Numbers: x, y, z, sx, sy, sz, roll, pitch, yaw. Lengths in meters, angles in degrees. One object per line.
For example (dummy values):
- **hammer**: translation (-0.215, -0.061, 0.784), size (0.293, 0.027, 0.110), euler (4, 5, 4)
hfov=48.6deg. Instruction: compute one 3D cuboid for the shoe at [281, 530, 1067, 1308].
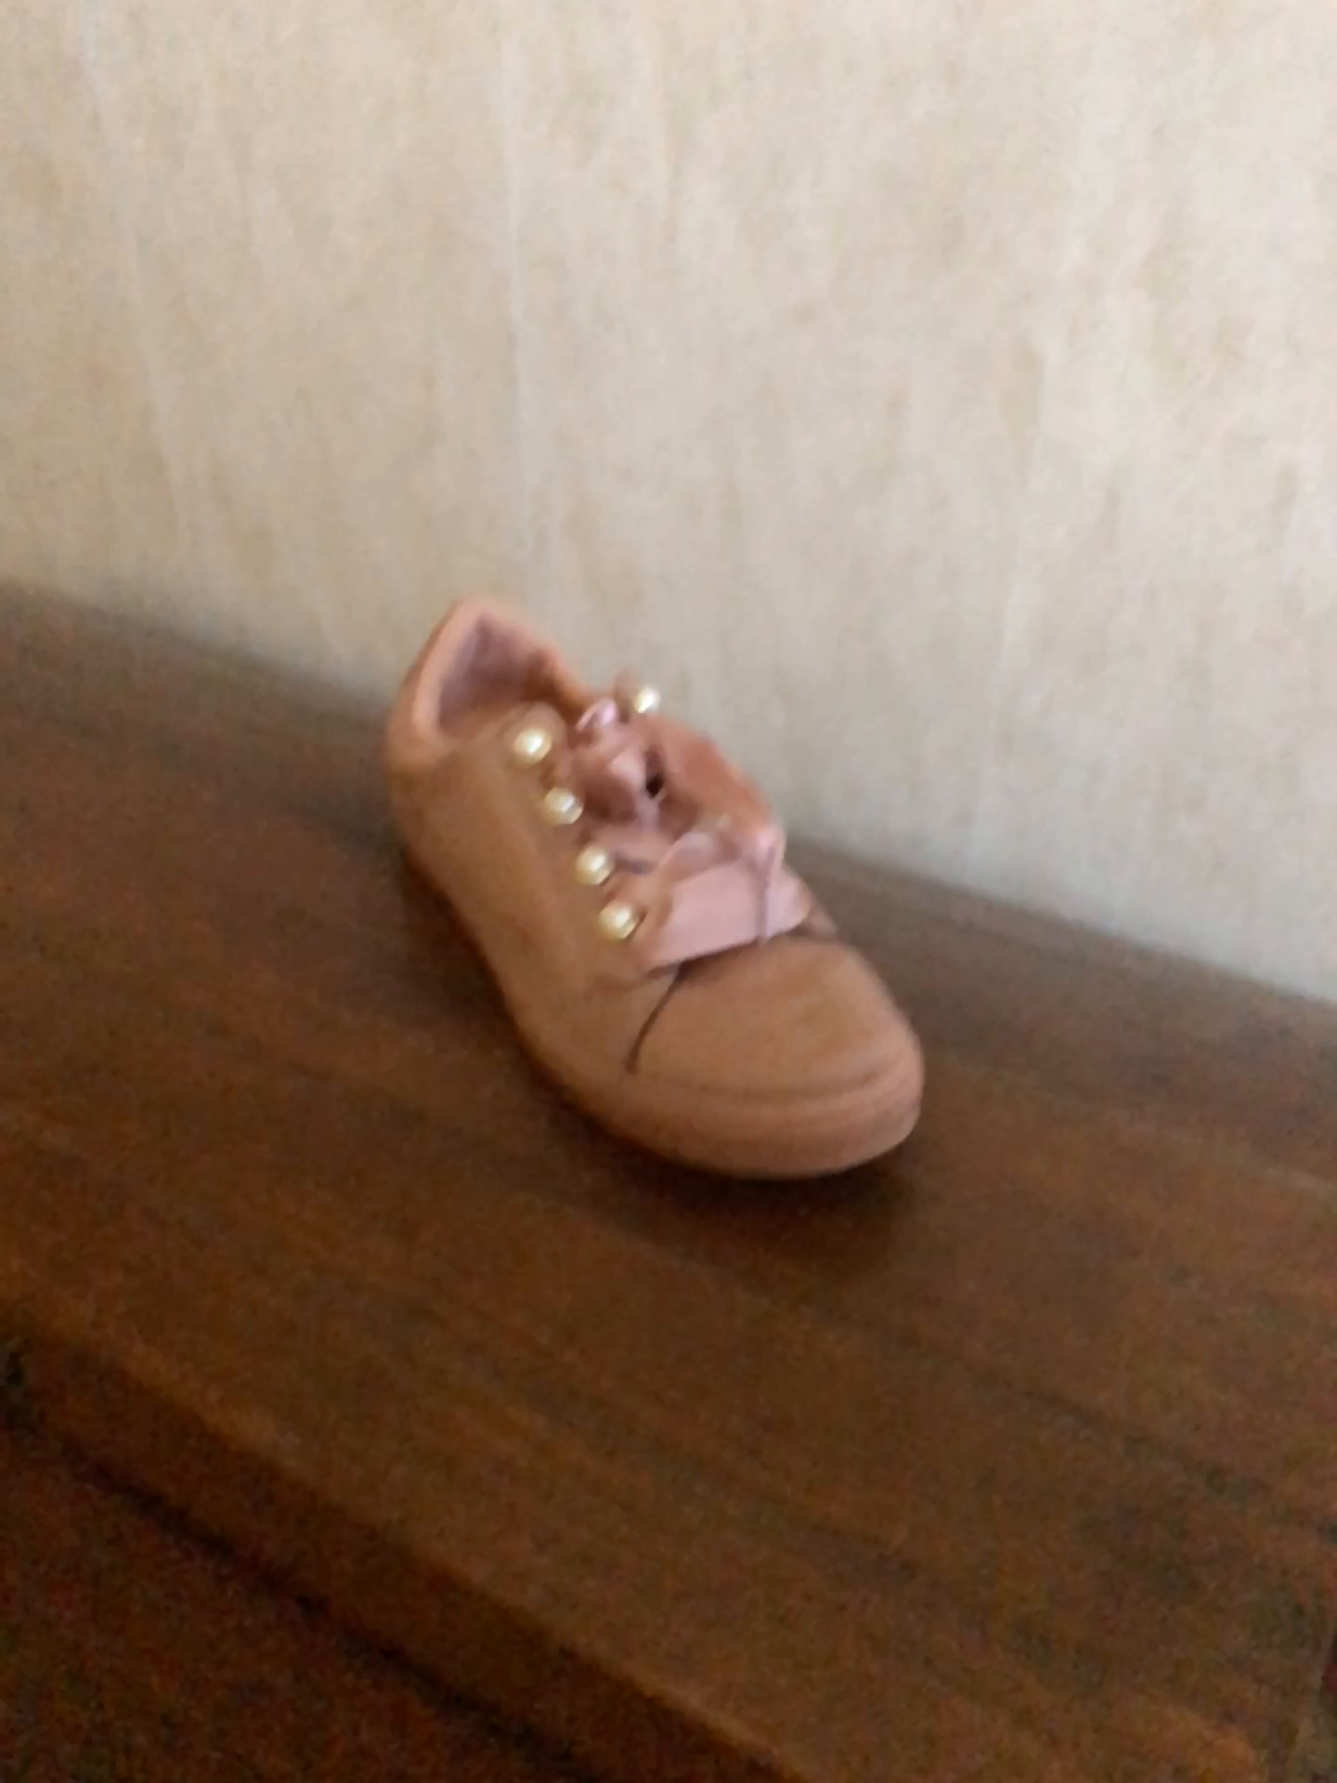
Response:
- **shoe**: translation (-0.018, -0.016, 0.476), size (0.110, 0.089, 0.281), euler (-19, 40, -25)
